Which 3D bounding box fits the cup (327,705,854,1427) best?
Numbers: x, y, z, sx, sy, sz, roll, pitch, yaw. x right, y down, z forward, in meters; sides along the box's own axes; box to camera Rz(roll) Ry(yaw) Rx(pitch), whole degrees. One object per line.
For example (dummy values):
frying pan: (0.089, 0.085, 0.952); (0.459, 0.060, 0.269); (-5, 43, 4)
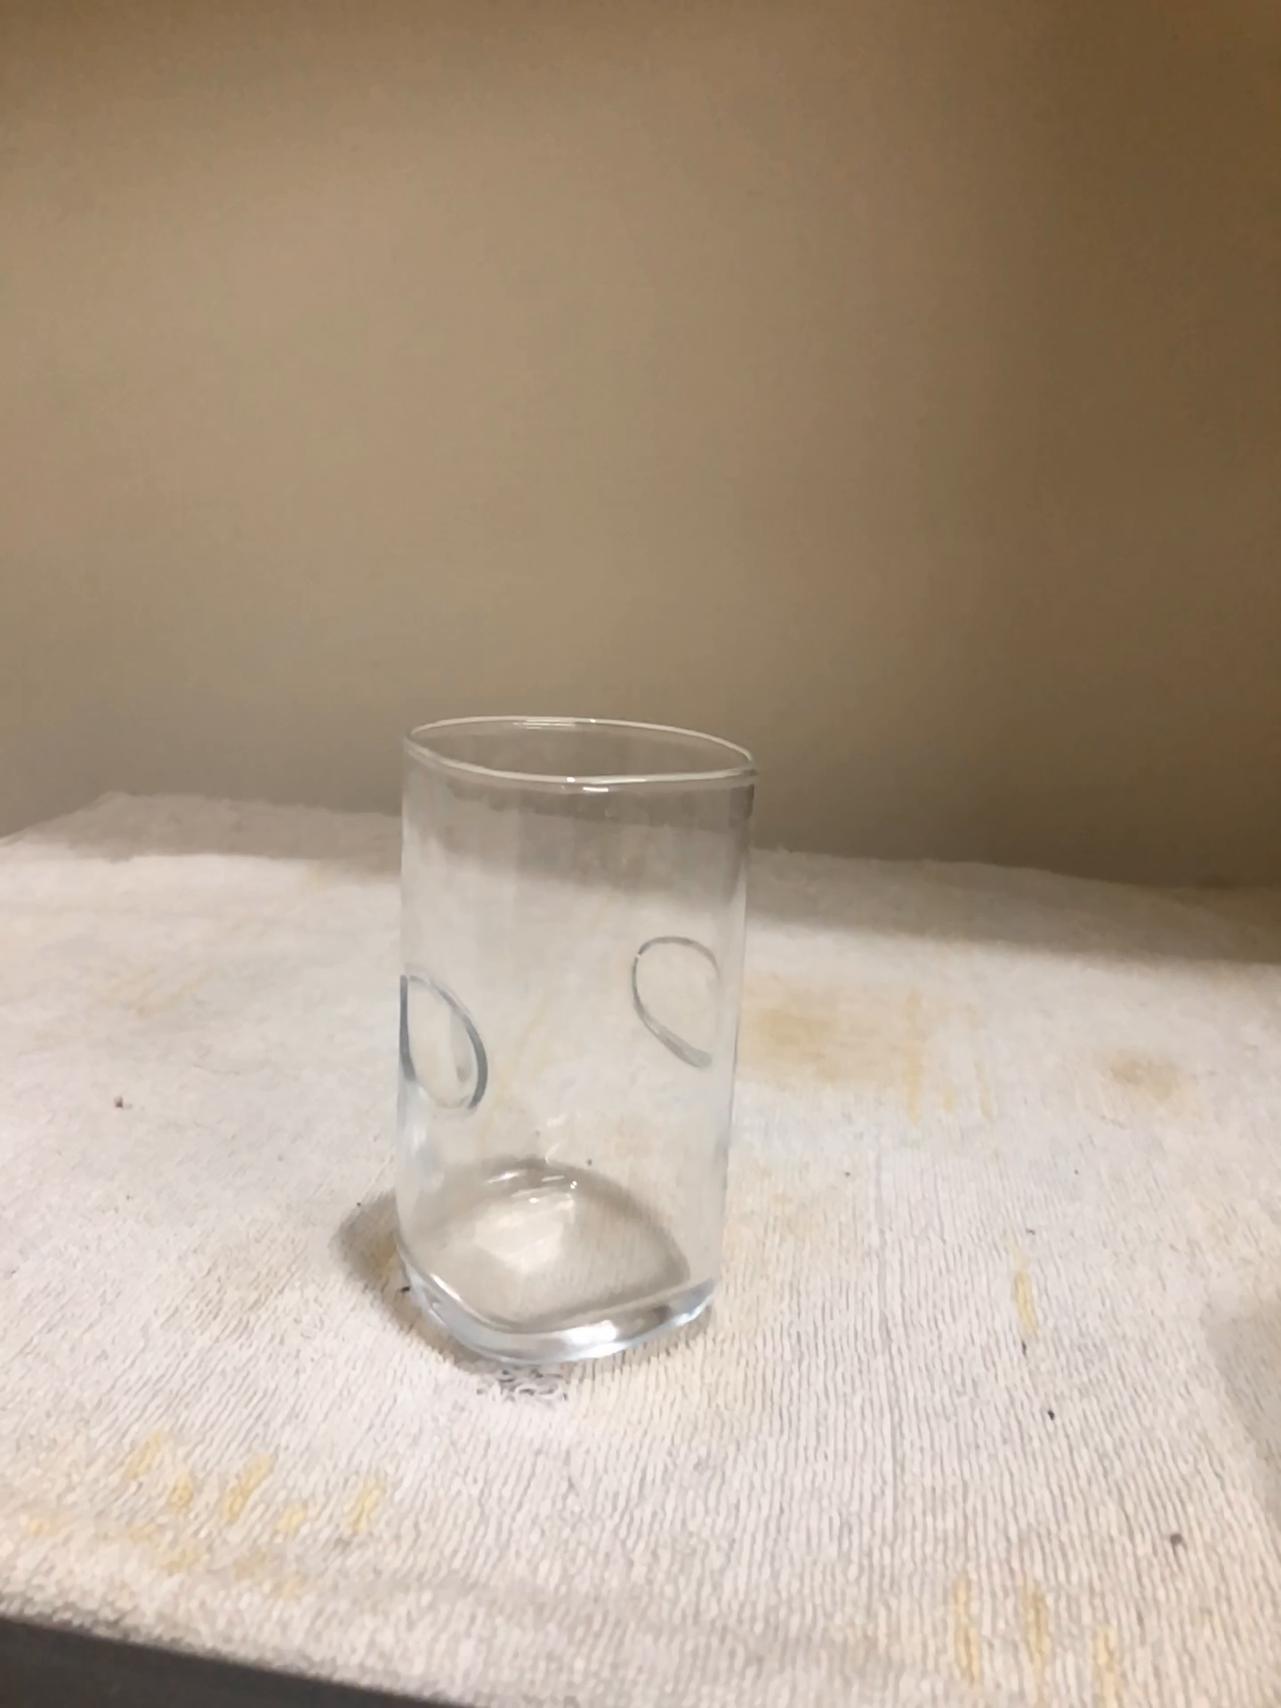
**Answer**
cup: (-0.013, 0.031, 0.273); (0.070, 0.110, 0.070); (3, 12, -1)
